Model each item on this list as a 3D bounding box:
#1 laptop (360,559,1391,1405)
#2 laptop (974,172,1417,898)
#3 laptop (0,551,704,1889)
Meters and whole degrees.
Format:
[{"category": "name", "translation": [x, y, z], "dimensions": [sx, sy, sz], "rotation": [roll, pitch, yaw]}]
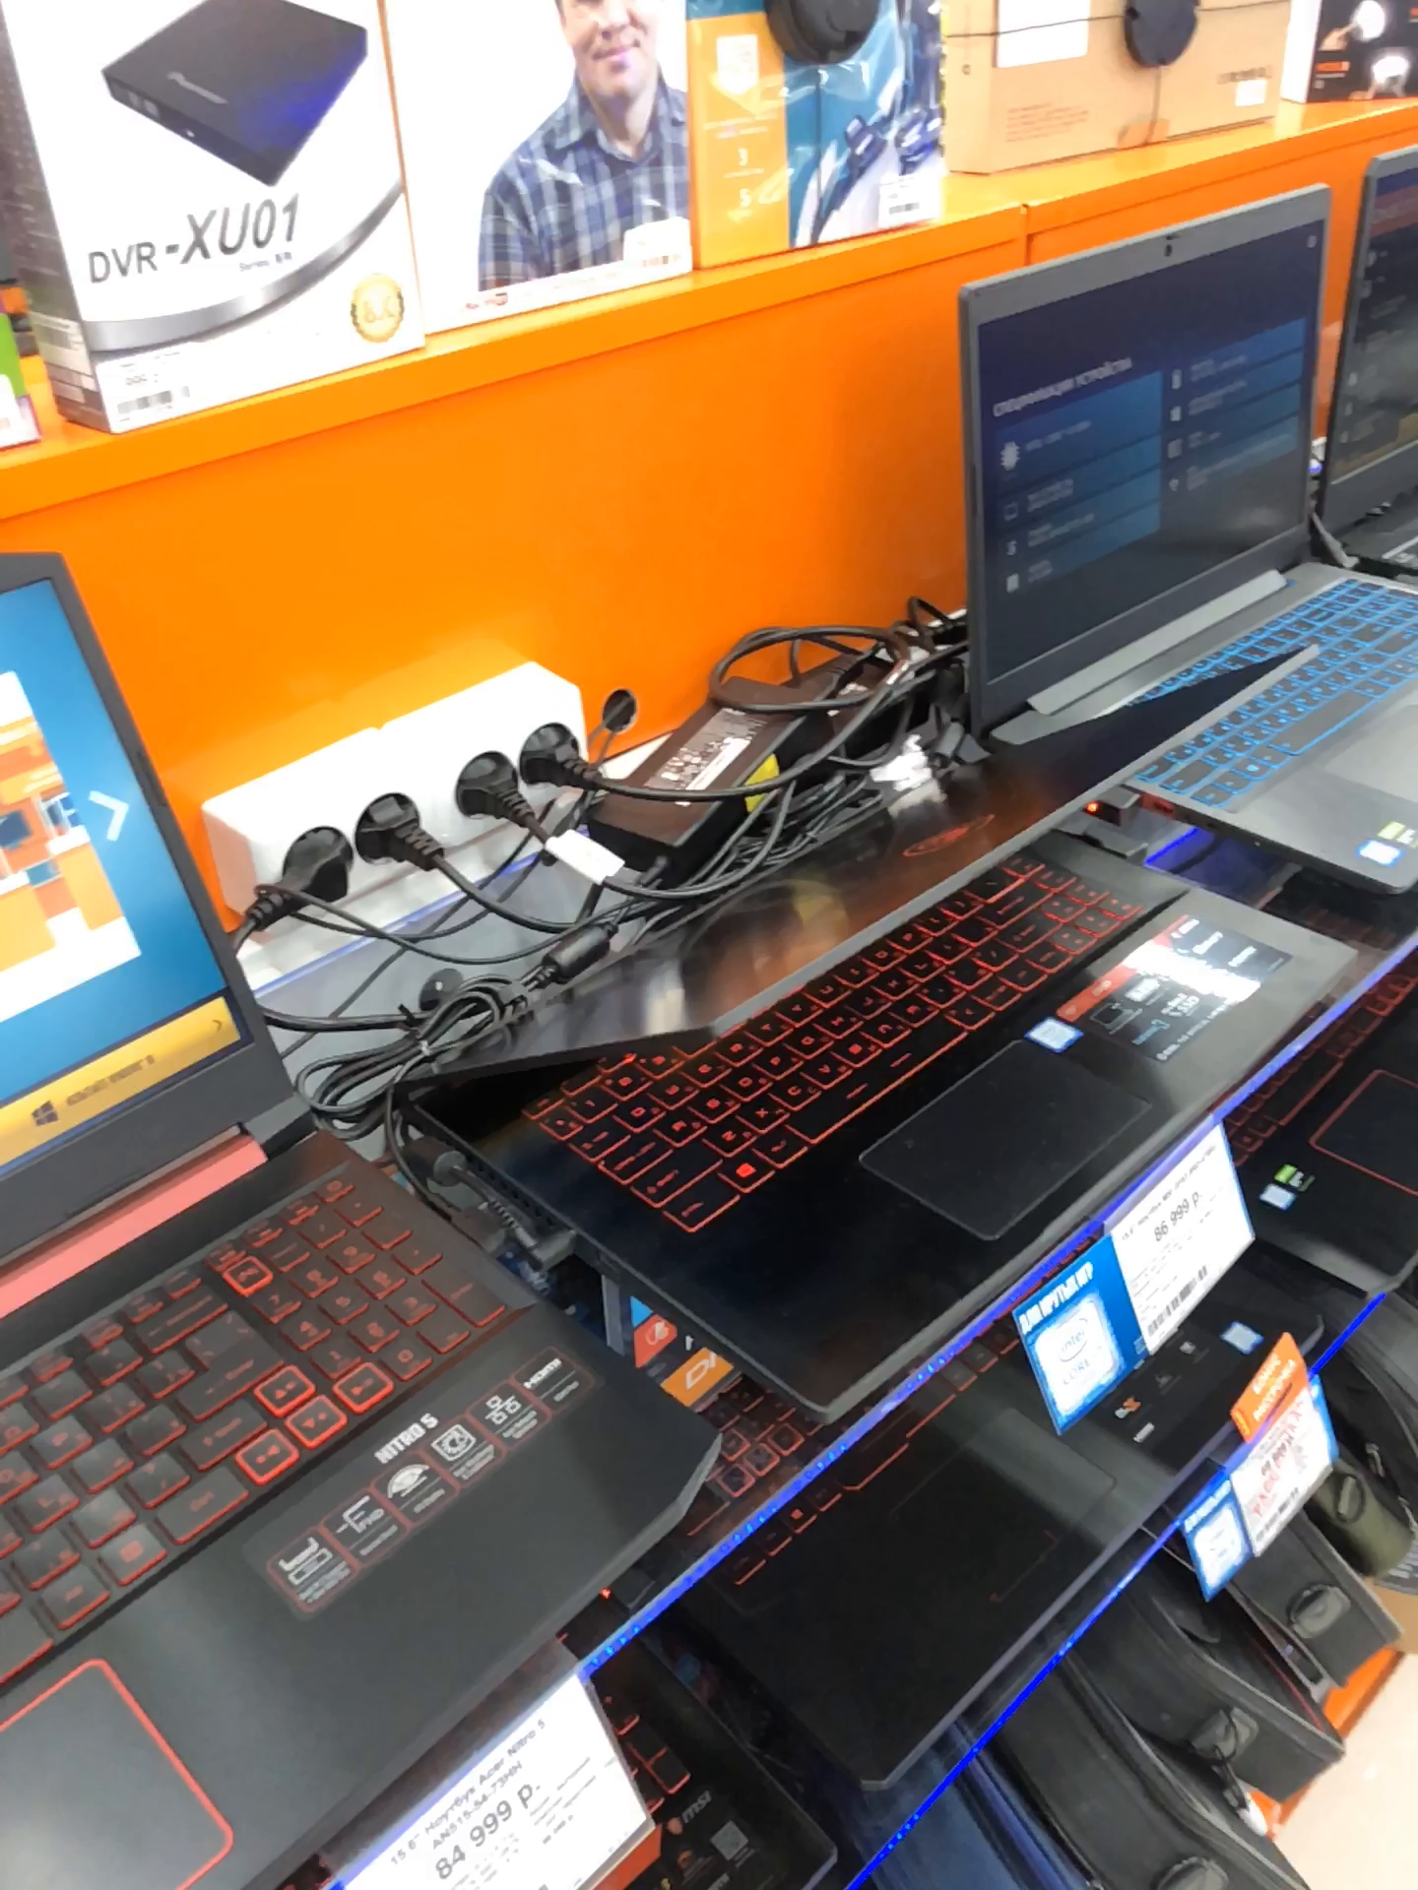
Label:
[{"category": "laptop", "translation": [0.077, -0.021, 0.635], "dimensions": [0.348, 0.134, 0.226], "rotation": [-30, 42, -34]}, {"category": "laptop", "translation": [0.351, -0.251, 0.848], "dimensions": [0.327, 0.228, 0.278], "rotation": [-28, 41, -29]}, {"category": "laptop", "translation": [-0.255, 0.083, 0.429], "dimensions": [0.366, 0.225, 0.330], "rotation": [-30, 42, -35]}]
